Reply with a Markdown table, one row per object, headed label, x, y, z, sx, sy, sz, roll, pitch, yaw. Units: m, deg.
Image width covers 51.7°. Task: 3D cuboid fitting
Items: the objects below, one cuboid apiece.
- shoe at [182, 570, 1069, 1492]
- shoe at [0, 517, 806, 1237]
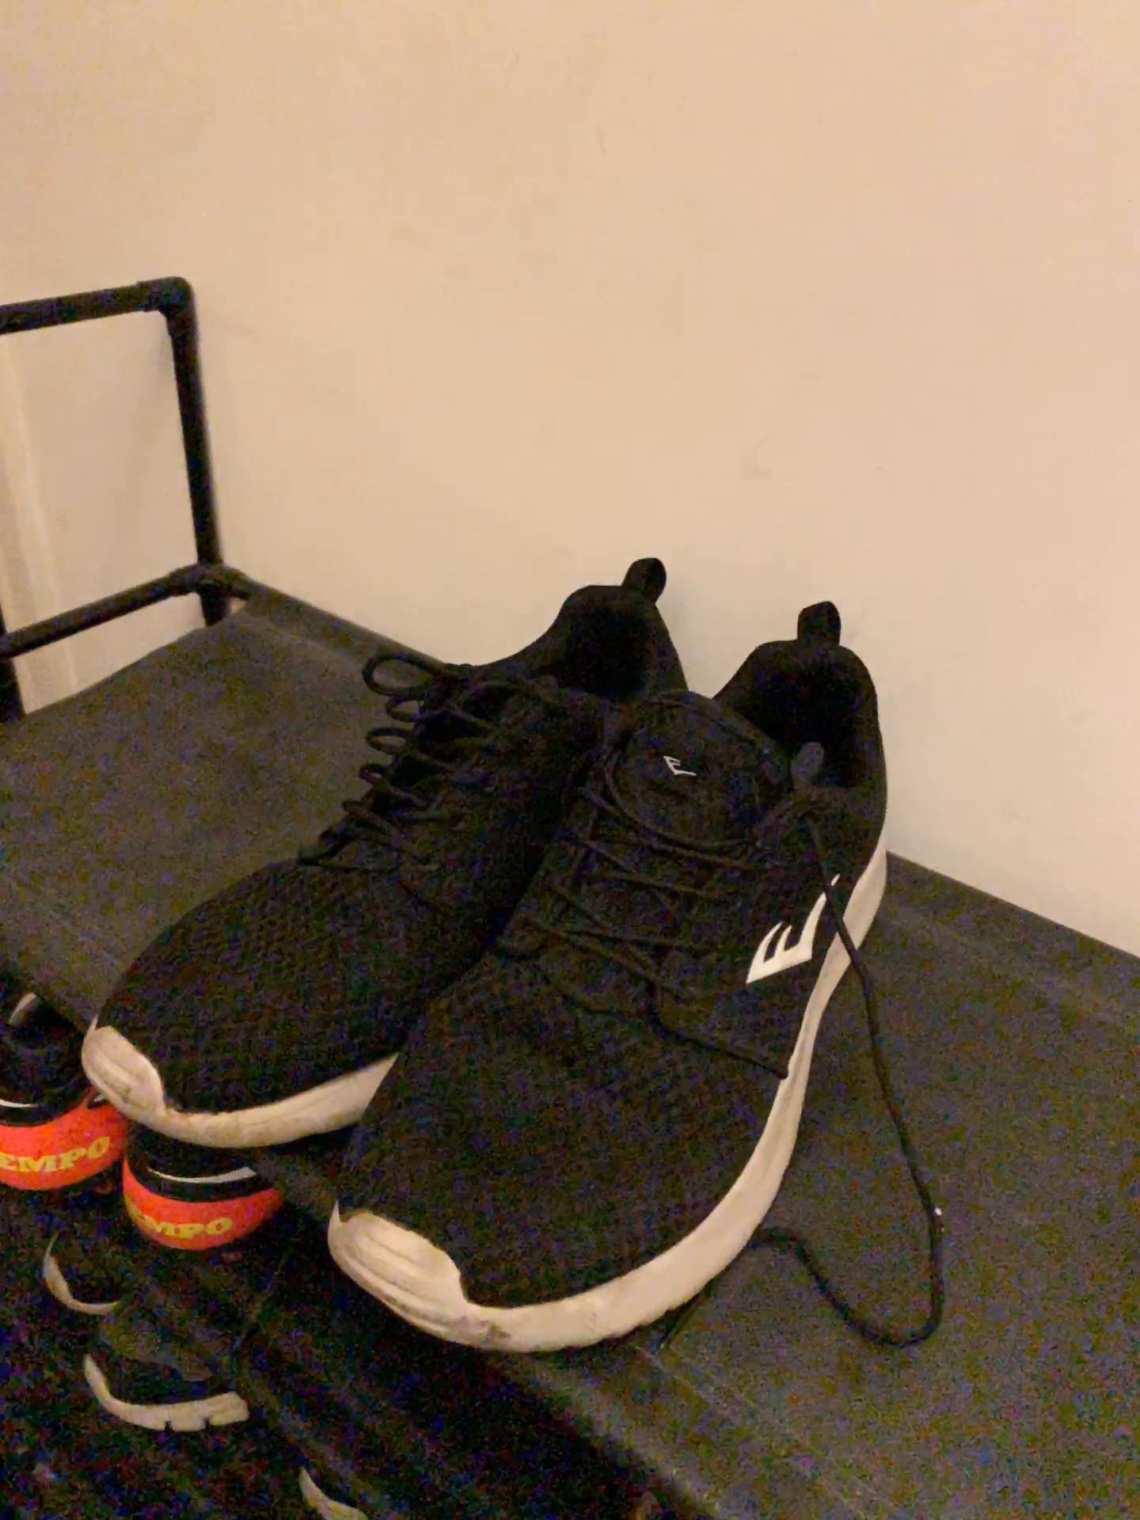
| label | x | y | z | sx | sy | sz | roll | pitch | yaw |
| --- | --- | --- | --- | --- | --- | --- | --- | --- | --- |
| shoe | 0.043 | 0.045 | 0.381 | 0.120 | 0.099 | 0.302 | 23 | 37 | 29 |
| shoe | -0.042 | 0.011 | 0.432 | 0.110 | 0.099 | 0.302 | 24 | 38 | 31 |
